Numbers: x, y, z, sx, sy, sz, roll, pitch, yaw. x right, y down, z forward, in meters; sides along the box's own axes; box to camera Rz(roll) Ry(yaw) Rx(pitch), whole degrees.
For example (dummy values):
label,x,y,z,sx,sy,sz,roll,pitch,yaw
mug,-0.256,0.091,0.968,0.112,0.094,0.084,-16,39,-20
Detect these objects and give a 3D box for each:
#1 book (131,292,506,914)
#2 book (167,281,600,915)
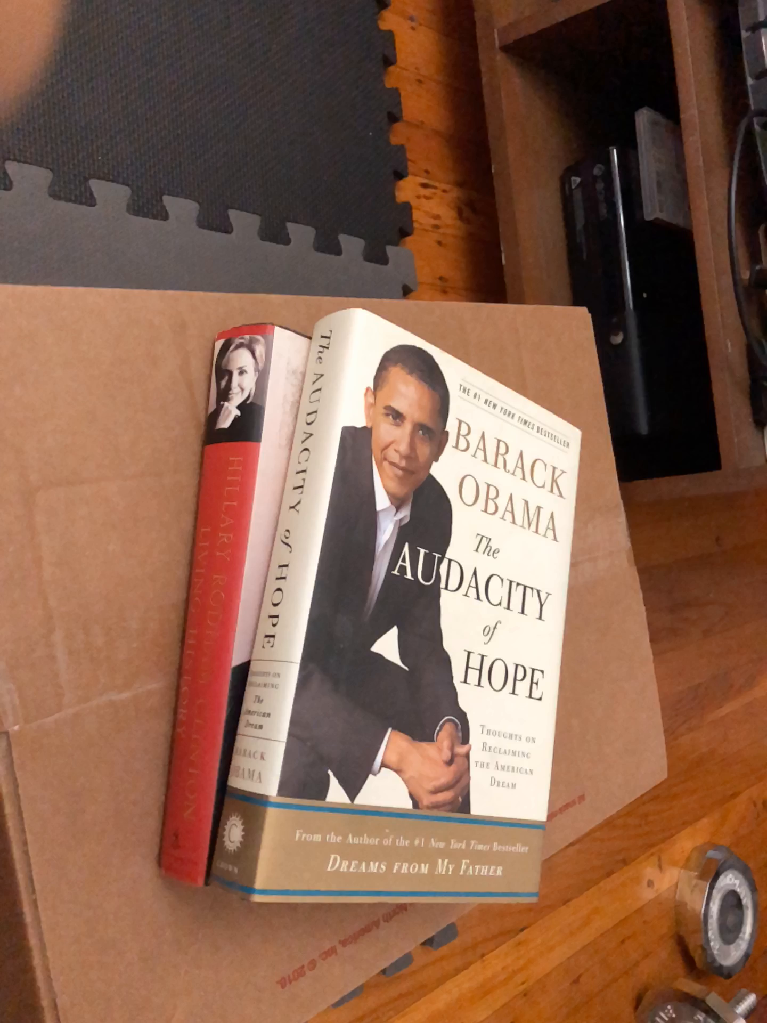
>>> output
label,x,y,z,sx,sy,sz,roll,pitch,yaw
book,-0.017,0.045,0.410,0.171,0.040,0.250,13,75,-40
book,0.020,0.050,0.401,0.191,0.040,0.250,21,71,-38
